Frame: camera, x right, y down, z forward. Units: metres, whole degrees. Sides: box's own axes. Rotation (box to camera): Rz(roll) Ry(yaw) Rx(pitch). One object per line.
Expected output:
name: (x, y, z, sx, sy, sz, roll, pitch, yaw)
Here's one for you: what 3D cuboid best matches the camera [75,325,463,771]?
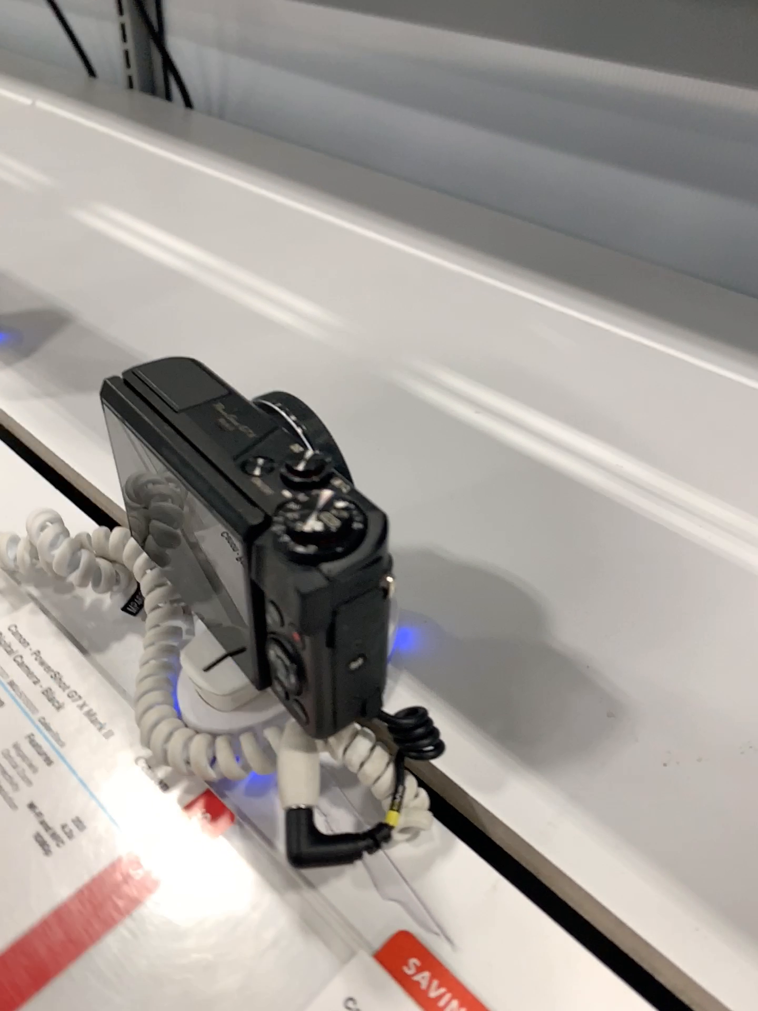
camera: (-0.034, 0.005, 0.215, 0.044, 0.060, 0.110, -26, 48, -30)
